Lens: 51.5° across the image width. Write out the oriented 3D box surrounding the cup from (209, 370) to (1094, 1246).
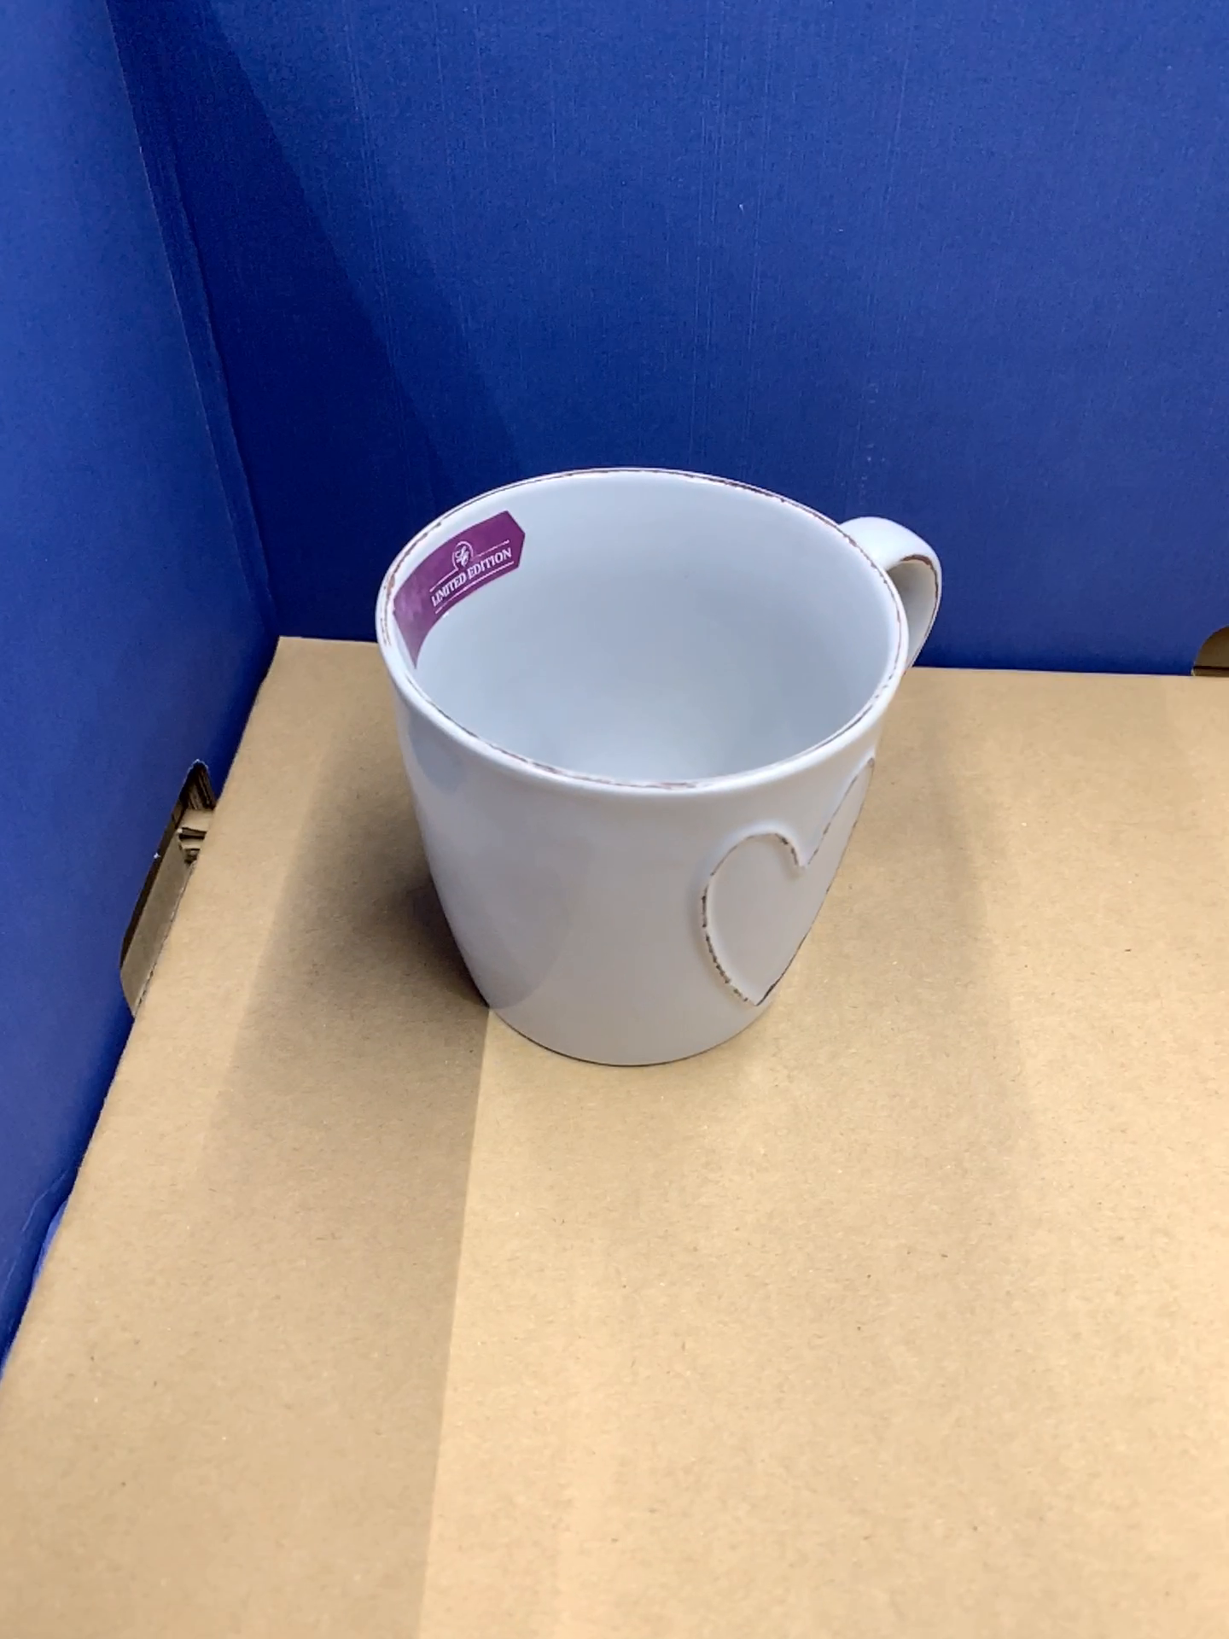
[{"bbox_3d":[0.011,-0.012,0.243,0.091,0.085,0.125,30,51,28],"label":"cup"}]
